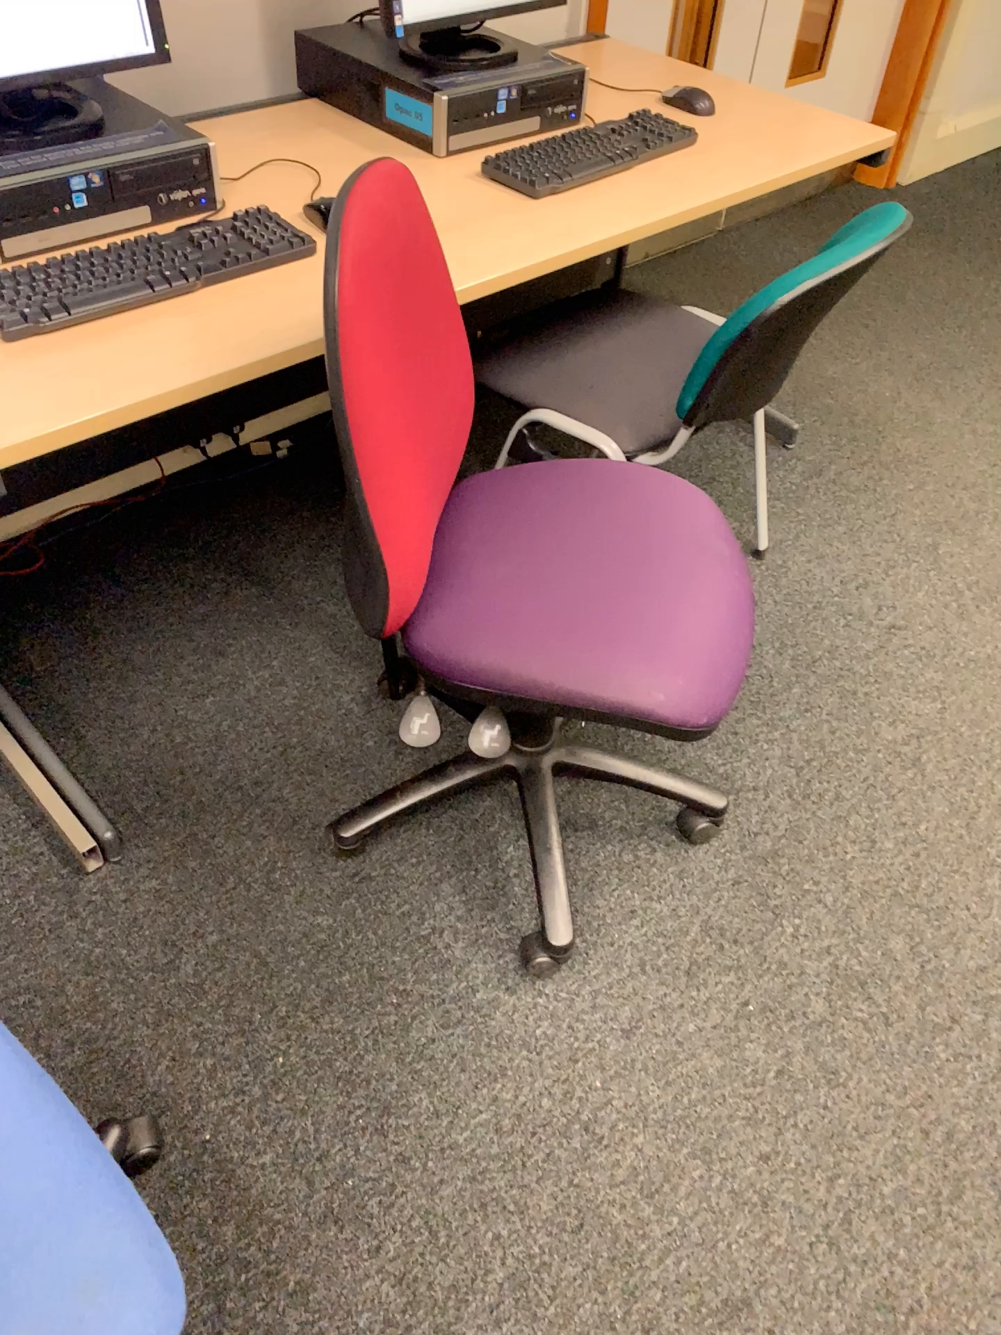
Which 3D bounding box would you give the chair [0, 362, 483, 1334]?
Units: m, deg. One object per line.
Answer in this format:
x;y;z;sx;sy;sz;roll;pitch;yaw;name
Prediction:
-0.453;0.394;0.653;0.605;0.829;0.601;32;50;25;chair

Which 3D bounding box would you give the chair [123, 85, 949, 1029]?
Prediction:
0.047;-0.121;1.261;0.598;0.869;0.659;9;44;5;chair
